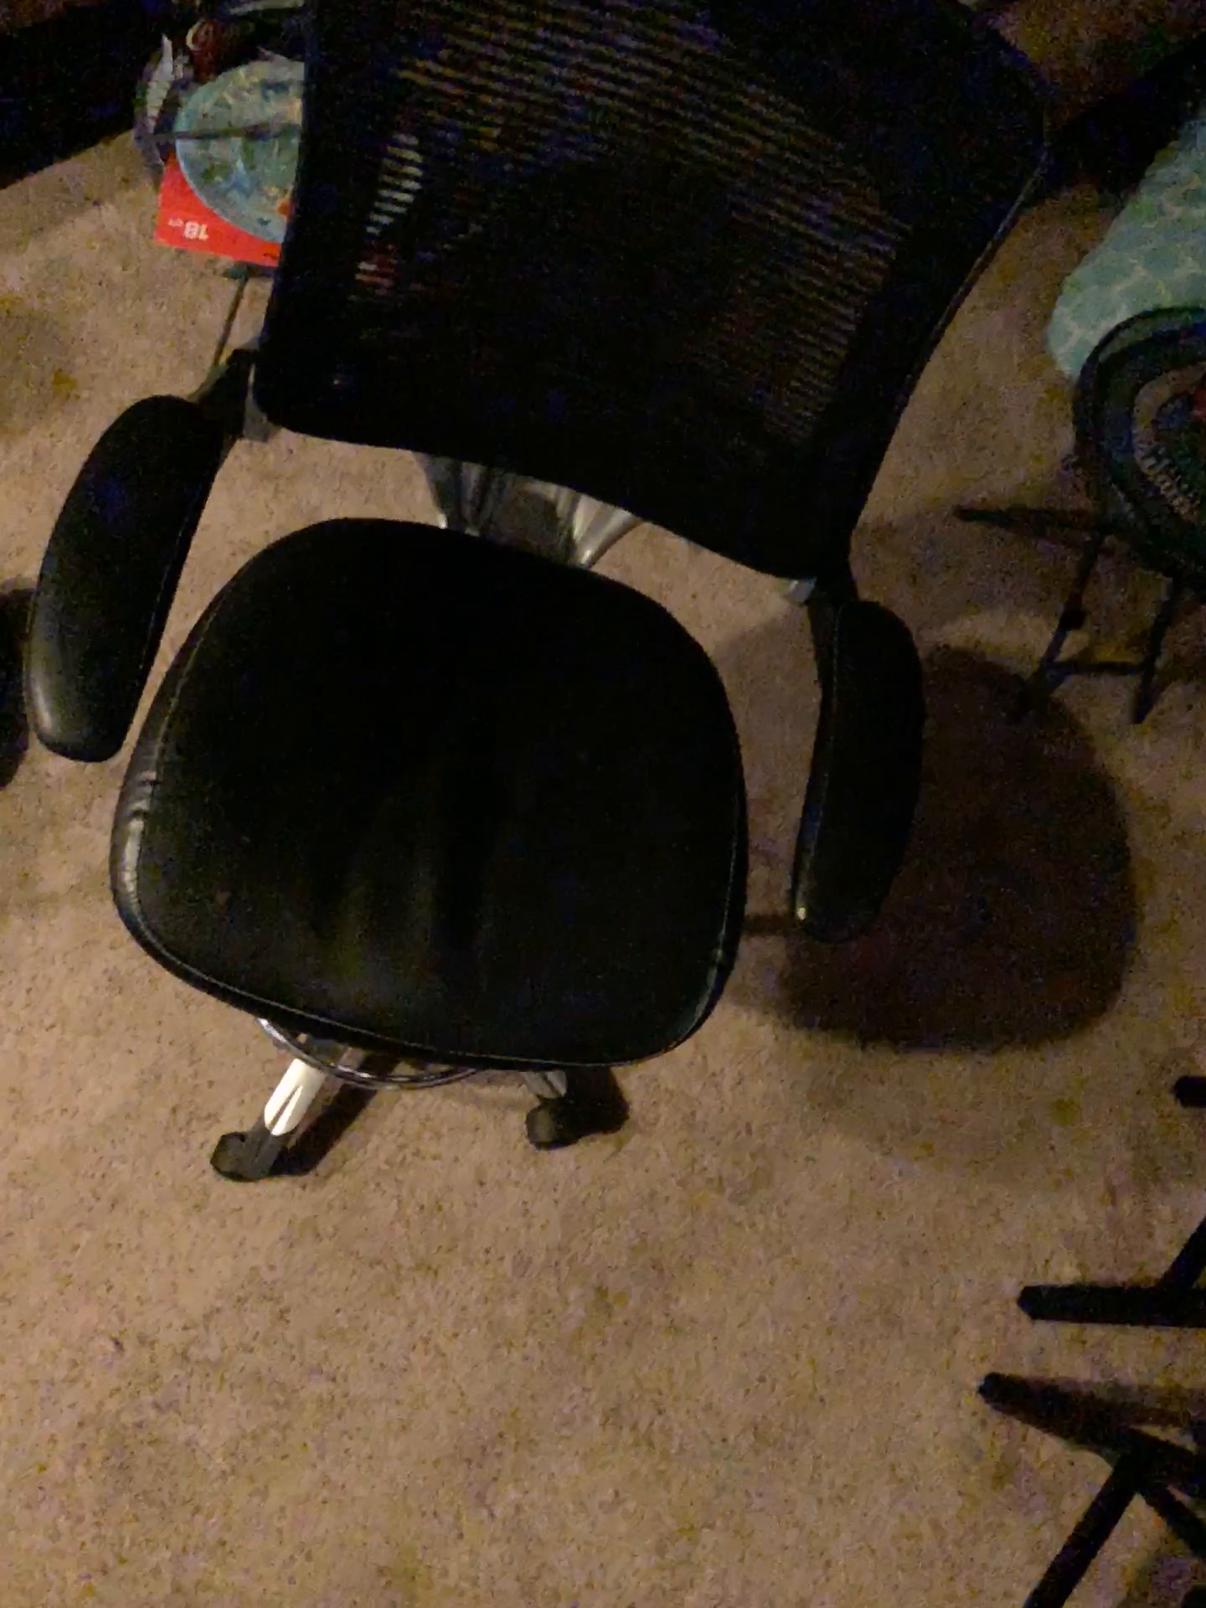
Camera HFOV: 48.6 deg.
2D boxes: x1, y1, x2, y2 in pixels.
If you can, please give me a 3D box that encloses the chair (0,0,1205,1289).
[{"bbox_3d":[-0.110,-0.122,1.238,0.760,1.170,0.930,15,67,-8],"label":"chair"}]
